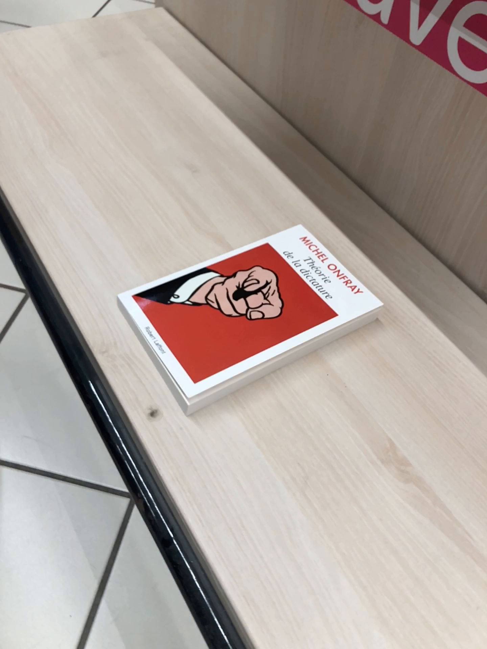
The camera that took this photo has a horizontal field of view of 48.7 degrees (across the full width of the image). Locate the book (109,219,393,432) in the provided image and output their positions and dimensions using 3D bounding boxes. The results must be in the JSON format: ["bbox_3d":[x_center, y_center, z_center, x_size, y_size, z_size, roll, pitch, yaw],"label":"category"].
[{"bbox_3d":[0.007,-0.012,0.478,0.207,0.029,0.139,-23,58,-24],"label":"book"}]
